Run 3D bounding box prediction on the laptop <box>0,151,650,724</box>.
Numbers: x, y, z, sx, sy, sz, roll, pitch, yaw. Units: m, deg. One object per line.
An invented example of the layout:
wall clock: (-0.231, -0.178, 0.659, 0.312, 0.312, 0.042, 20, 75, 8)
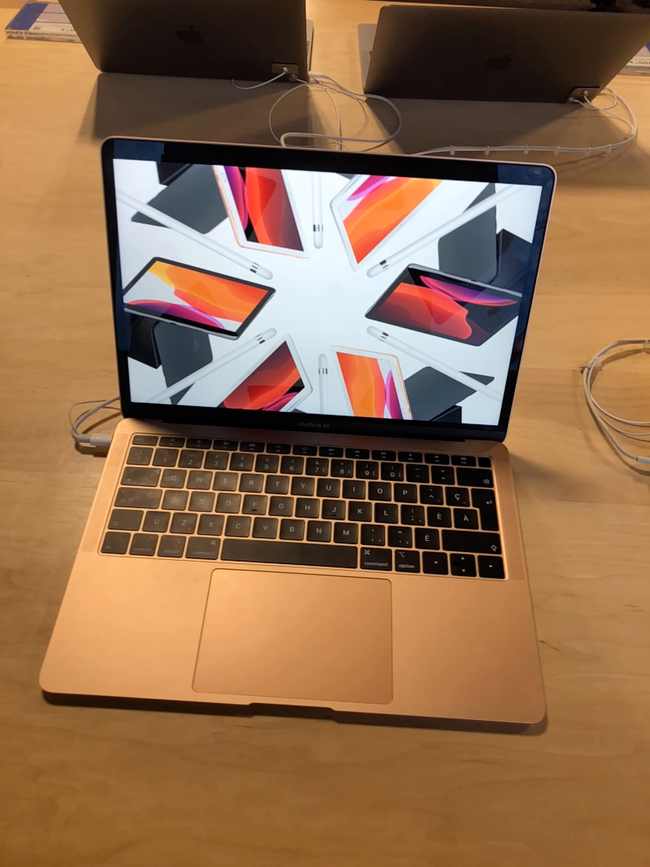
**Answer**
laptop: (-0.004, -0.009, 0.439, 0.291, 0.183, 0.284, 4, 49, 1)
